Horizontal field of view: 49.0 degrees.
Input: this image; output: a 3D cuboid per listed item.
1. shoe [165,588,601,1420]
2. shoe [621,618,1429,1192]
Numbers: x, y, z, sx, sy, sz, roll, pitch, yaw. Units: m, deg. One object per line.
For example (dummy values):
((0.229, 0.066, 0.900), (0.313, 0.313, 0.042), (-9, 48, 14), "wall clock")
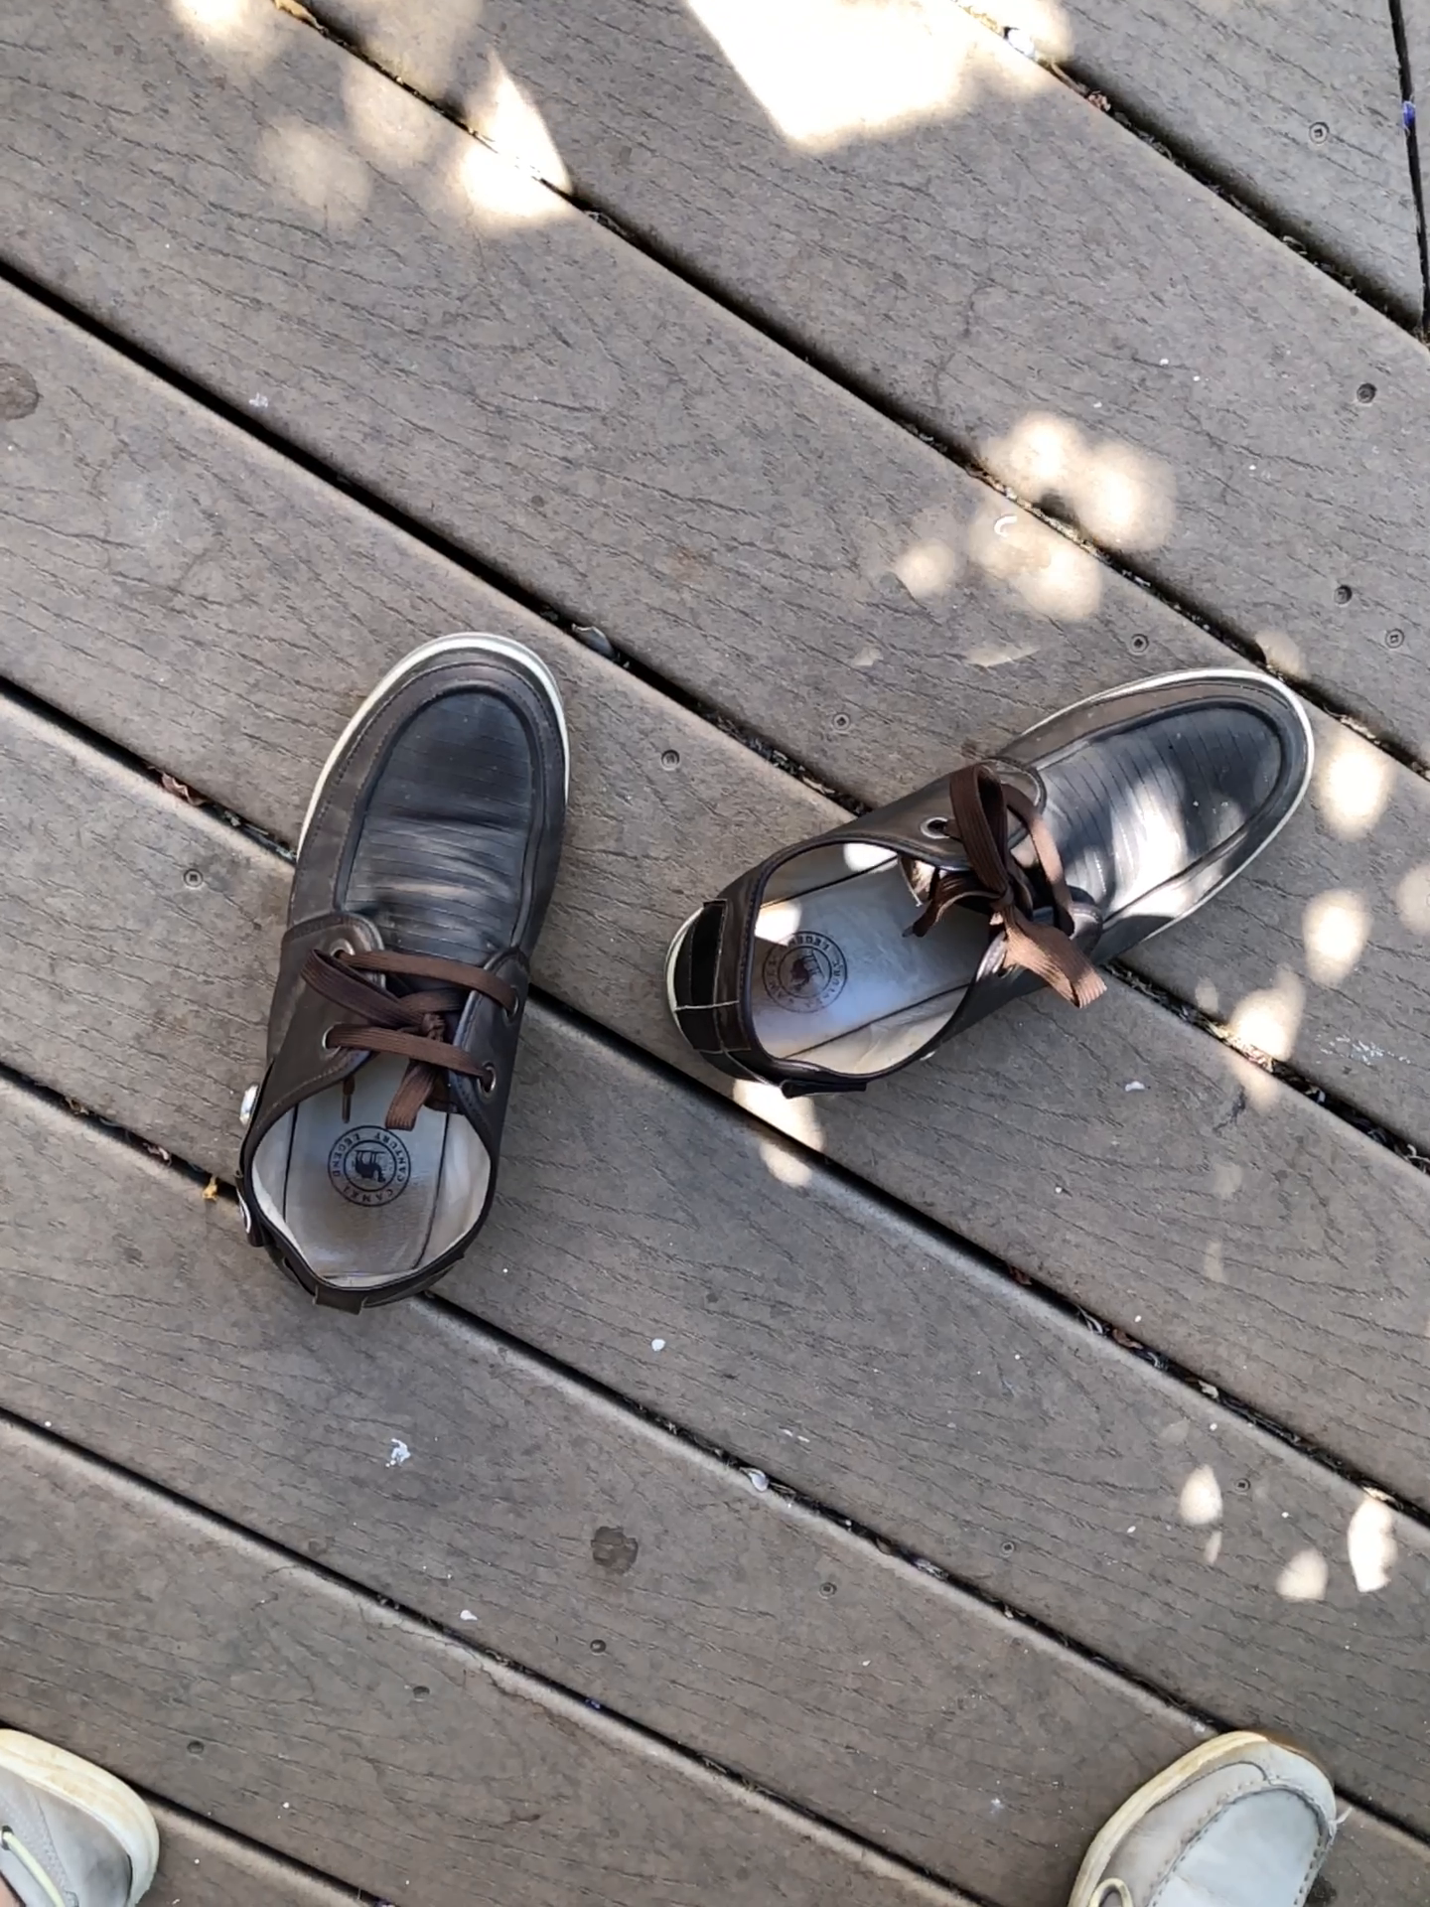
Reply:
((-0.130, 0.016, 0.640), (0.108, 0.121, 0.301), (11, 101, -6), "shoe")
((0.123, -0.028, 0.649), (0.303, 0.121, 0.108), (-23, 102, 1), "shoe")
